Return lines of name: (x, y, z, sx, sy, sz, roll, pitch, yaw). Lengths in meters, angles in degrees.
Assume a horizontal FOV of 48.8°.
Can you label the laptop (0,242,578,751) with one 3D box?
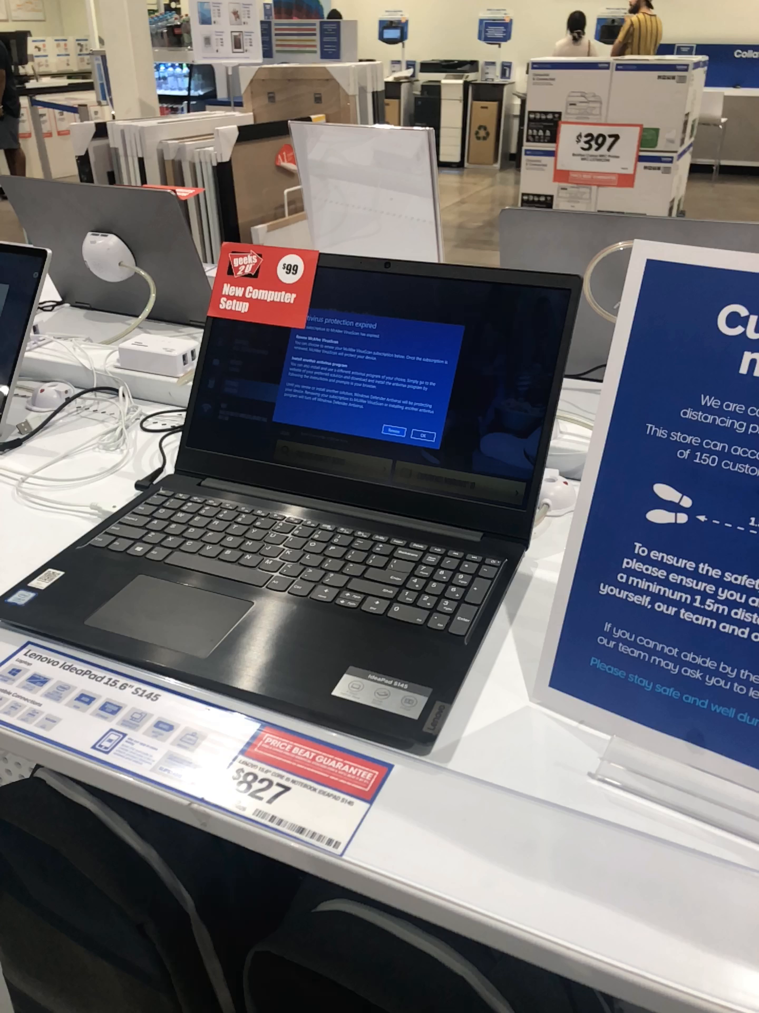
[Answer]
laptop: (-0.066, -0.057, 0.662, 0.353, 0.192, 0.370, 11, 32, 20)
